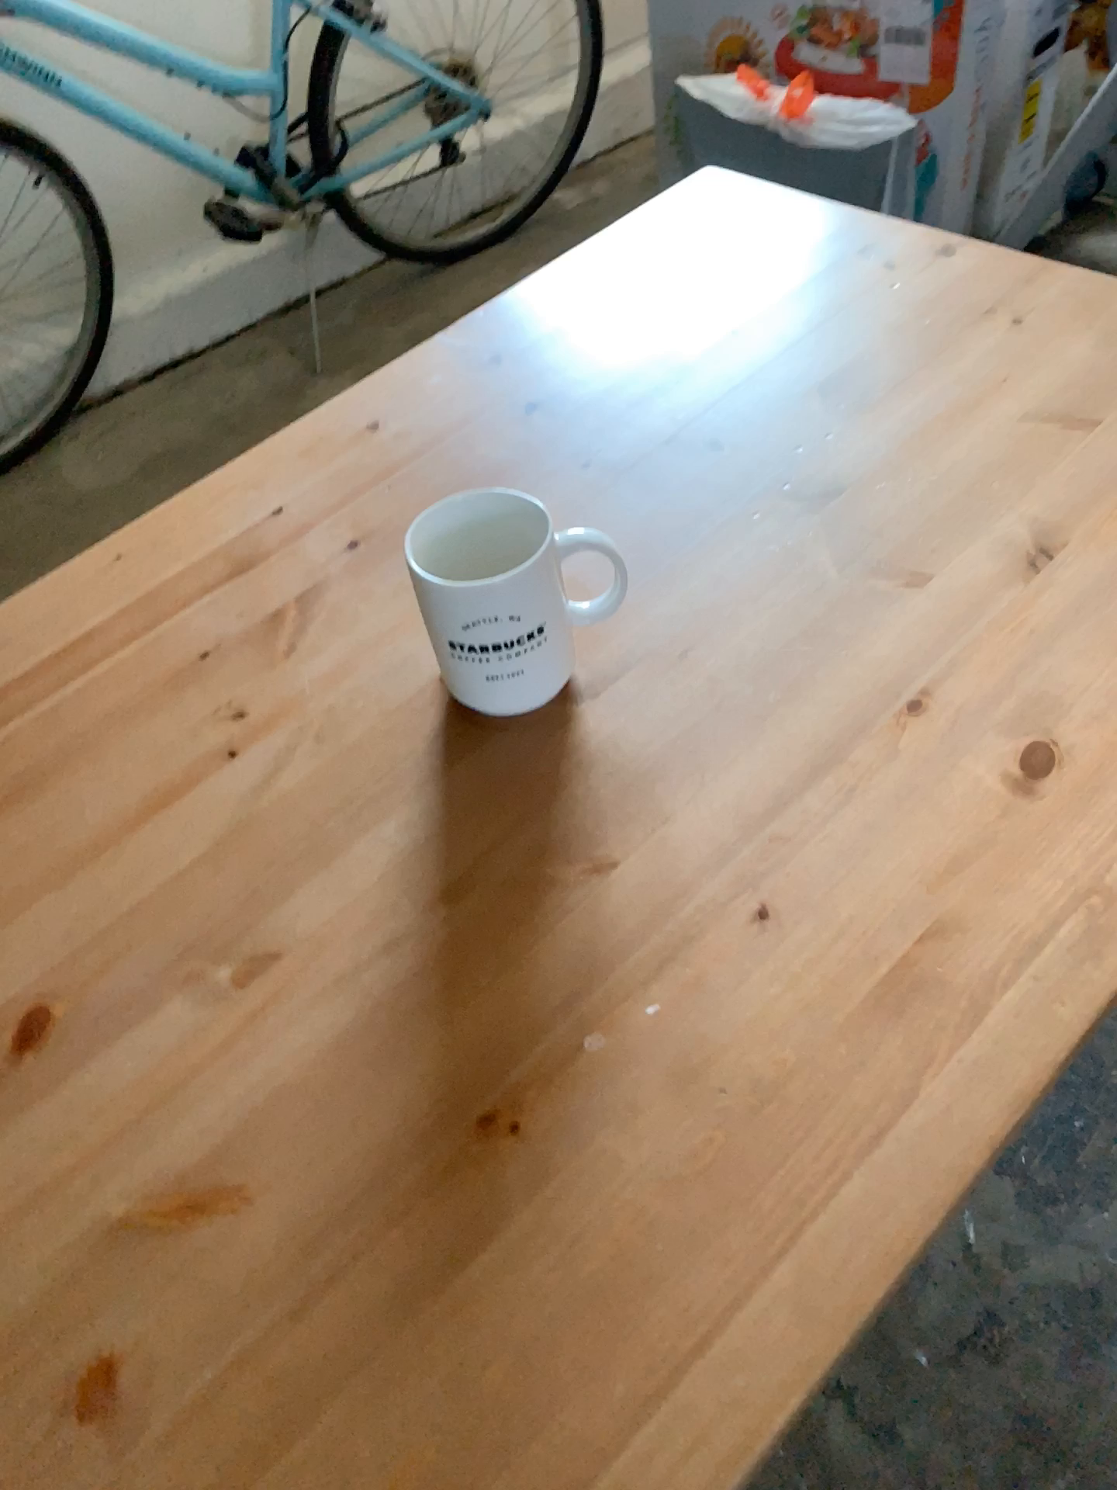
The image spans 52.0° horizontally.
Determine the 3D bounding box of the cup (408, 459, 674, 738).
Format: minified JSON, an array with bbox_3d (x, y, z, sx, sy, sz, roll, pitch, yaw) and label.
[{"bbox_3d":[-0.008,-0.081,0.641,0.120,0.100,0.080,-16,50,-3],"label":"cup"}]
